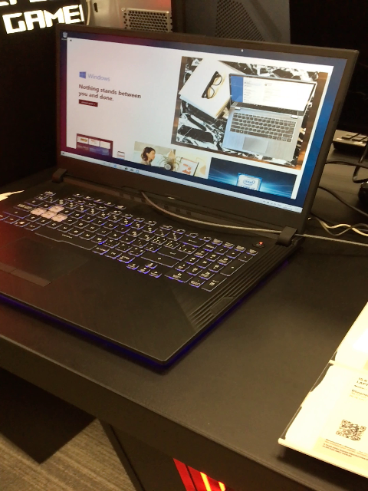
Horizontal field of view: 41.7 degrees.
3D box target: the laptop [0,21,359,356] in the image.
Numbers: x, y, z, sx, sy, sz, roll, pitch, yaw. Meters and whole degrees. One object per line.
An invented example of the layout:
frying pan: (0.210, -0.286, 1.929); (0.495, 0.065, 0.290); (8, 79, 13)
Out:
laptop: (-0.090, -0.108, 0.584); (0.406, 0.234, 0.331); (20, 43, 28)
